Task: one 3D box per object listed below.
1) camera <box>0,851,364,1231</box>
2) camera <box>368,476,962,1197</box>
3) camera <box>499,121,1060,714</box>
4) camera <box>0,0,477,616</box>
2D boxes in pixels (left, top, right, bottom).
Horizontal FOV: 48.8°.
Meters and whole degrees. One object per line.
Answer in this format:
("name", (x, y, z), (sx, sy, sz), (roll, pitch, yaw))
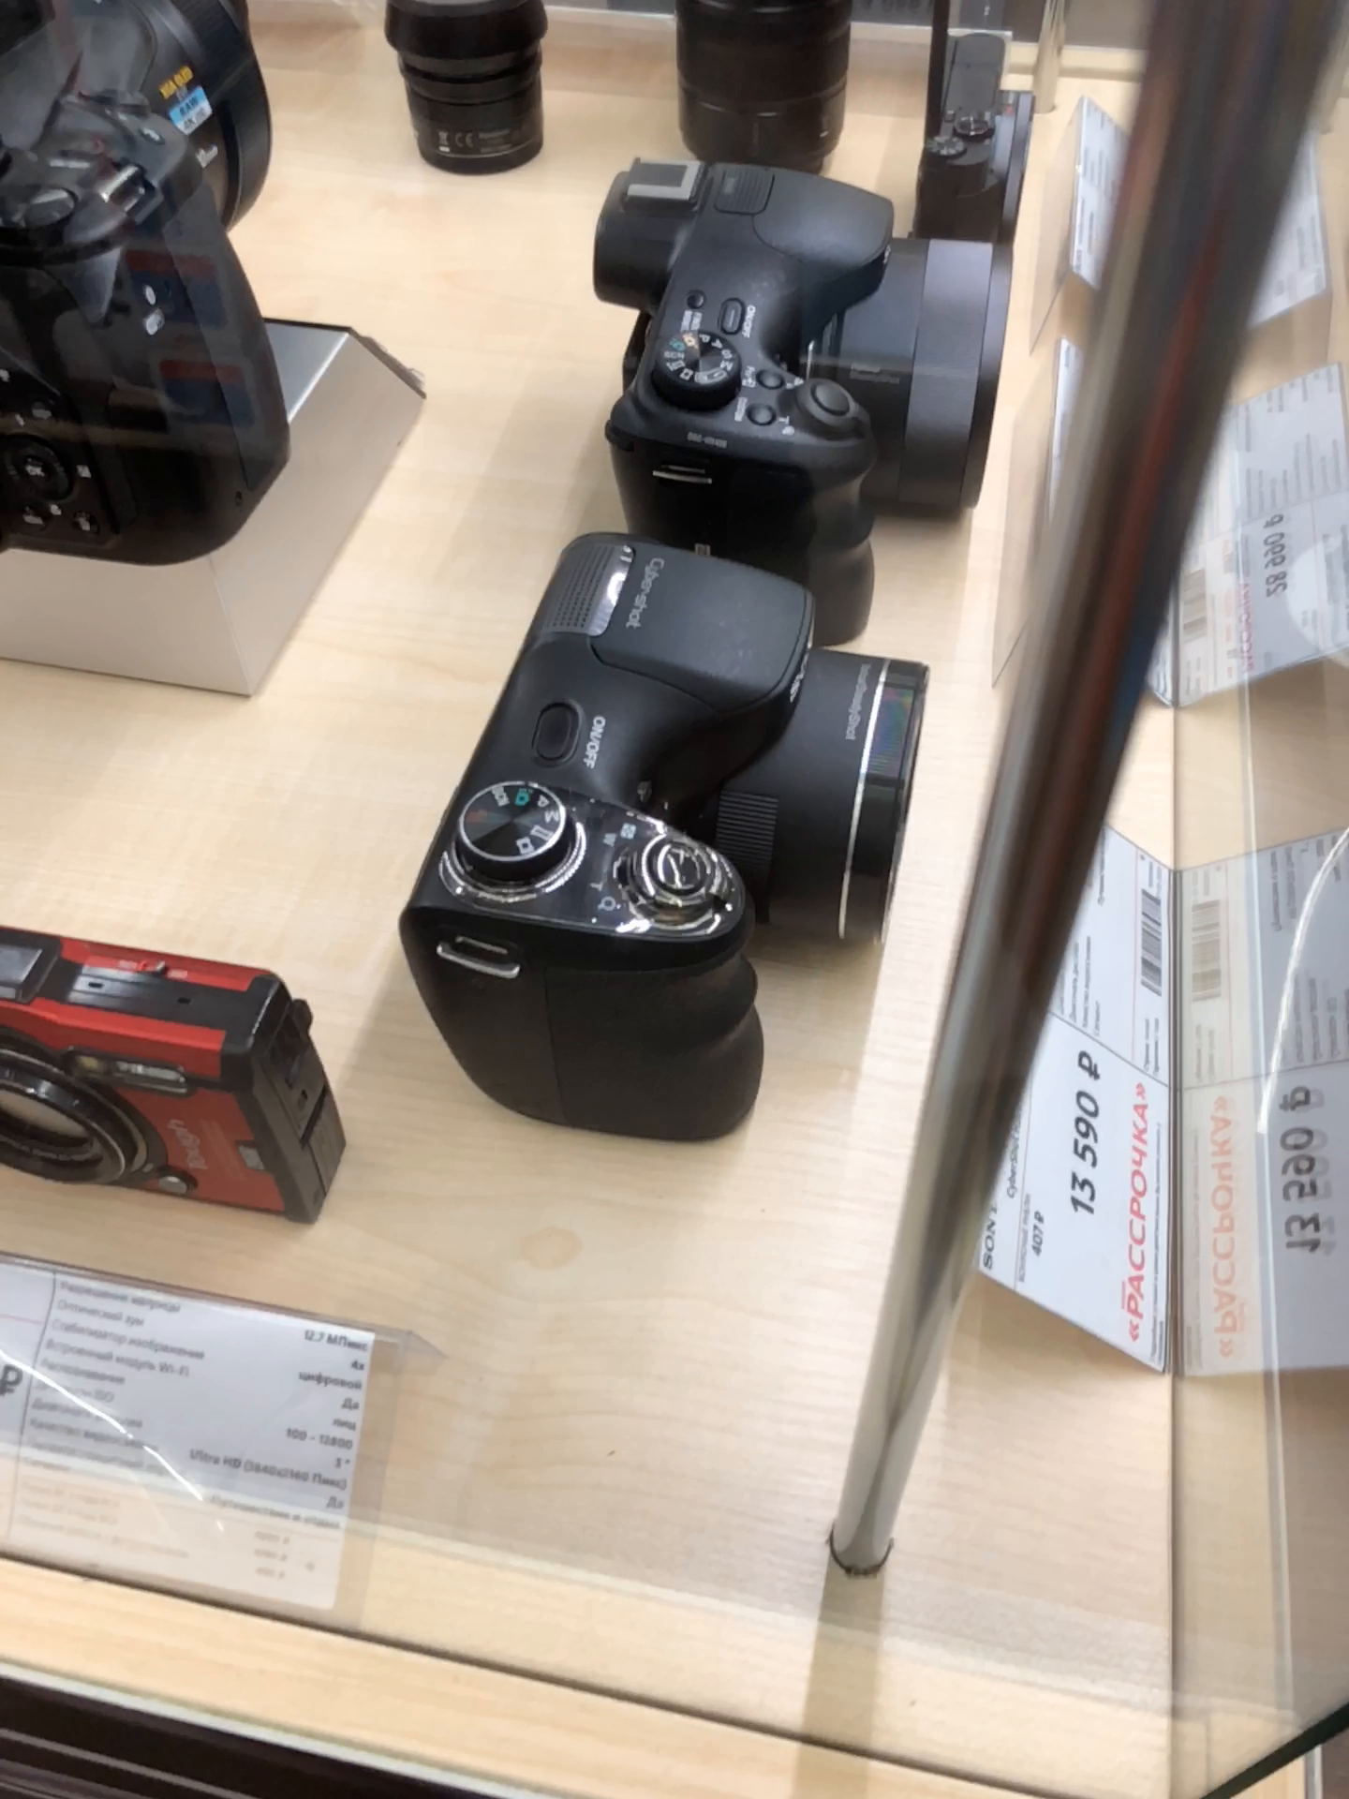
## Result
("camera", (-0.125, 0.030, 0.296), (0.111, 0.069, 0.026), (7, 51, 8))
("camera", (0.005, -0.017, 0.324), (0.091, 0.078, 0.124), (9, 52, 9))
("camera", (0.034, -0.139, 0.423), (0.125, 0.097, 0.124), (9, 52, 9))
("camera", (-0.139, -0.168, 0.344), (0.132, 0.106, 0.169), (8, 51, 8))
